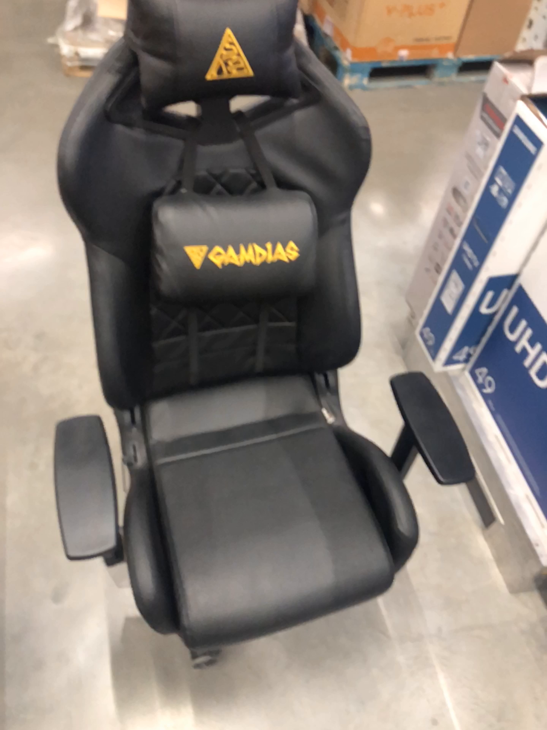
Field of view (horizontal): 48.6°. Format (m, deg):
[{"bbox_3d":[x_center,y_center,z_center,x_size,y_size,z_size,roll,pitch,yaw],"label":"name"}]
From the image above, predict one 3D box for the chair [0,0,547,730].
[{"bbox_3d":[-0.041,0.033,1.108,0.741,1.283,0.783,-10,54,-14],"label":"chair"}]
